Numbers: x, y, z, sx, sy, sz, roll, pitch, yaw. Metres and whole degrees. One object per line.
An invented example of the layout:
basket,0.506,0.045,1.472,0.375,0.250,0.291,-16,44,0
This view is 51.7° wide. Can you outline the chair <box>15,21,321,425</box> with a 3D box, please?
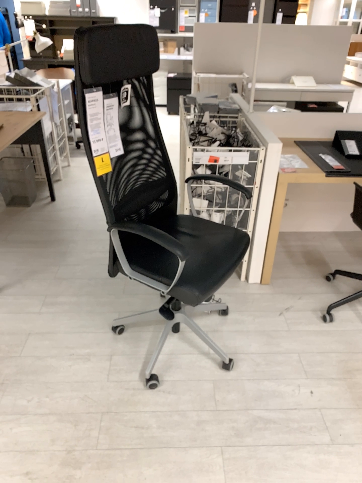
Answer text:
chair,0.001,-0.119,1.491,0.679,1.293,0.725,17,34,25
